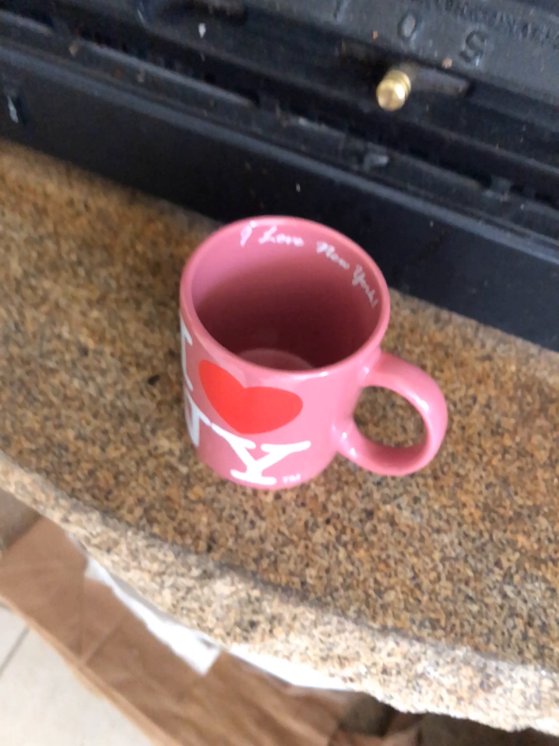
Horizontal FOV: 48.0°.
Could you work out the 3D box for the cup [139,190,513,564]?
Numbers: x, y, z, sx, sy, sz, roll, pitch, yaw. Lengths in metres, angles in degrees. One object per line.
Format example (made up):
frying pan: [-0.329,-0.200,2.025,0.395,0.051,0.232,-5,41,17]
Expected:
cup: [0.018,0.004,0.277,0.120,0.099,0.091,21,56,7]
